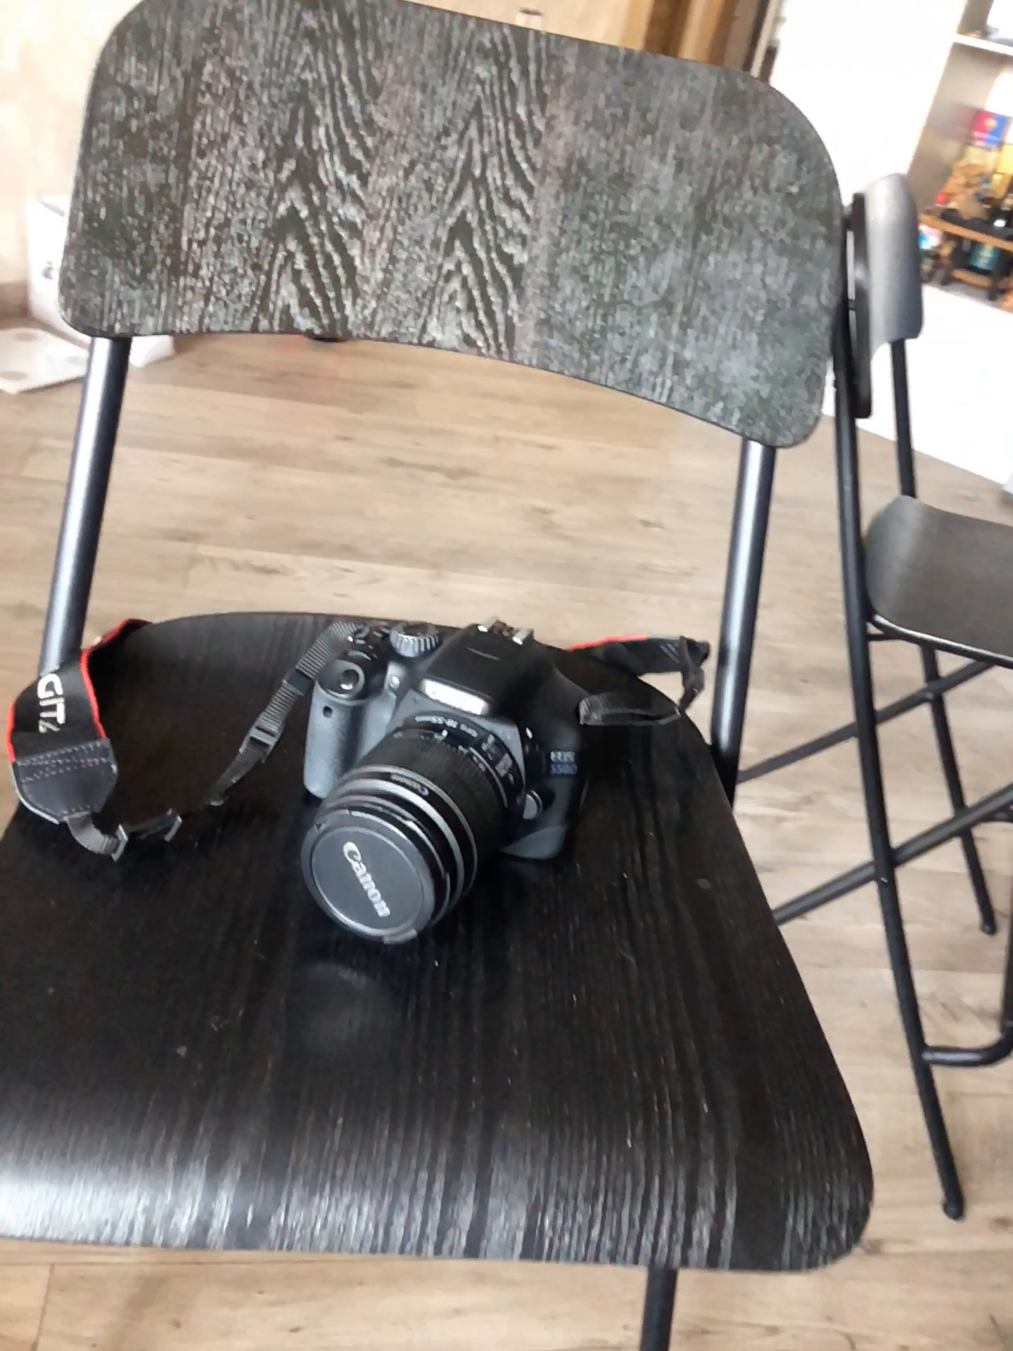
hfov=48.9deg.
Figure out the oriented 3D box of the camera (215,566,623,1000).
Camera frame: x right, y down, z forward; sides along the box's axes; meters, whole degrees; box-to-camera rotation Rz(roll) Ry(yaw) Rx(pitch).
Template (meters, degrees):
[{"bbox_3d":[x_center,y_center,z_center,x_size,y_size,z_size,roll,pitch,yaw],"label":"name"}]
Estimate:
[{"bbox_3d":[-0.035,0.039,0.490,0.120,0.092,0.141,20,34,12],"label":"camera"}]
